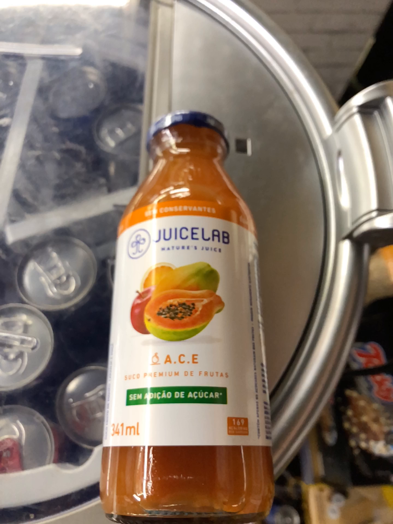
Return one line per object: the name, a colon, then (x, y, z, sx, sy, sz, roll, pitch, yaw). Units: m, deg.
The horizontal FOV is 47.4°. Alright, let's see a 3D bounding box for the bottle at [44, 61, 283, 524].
bottle: (-0.008, 0.007, 0.190, 0.070, 0.050, 0.190, 0, 68, 2)
